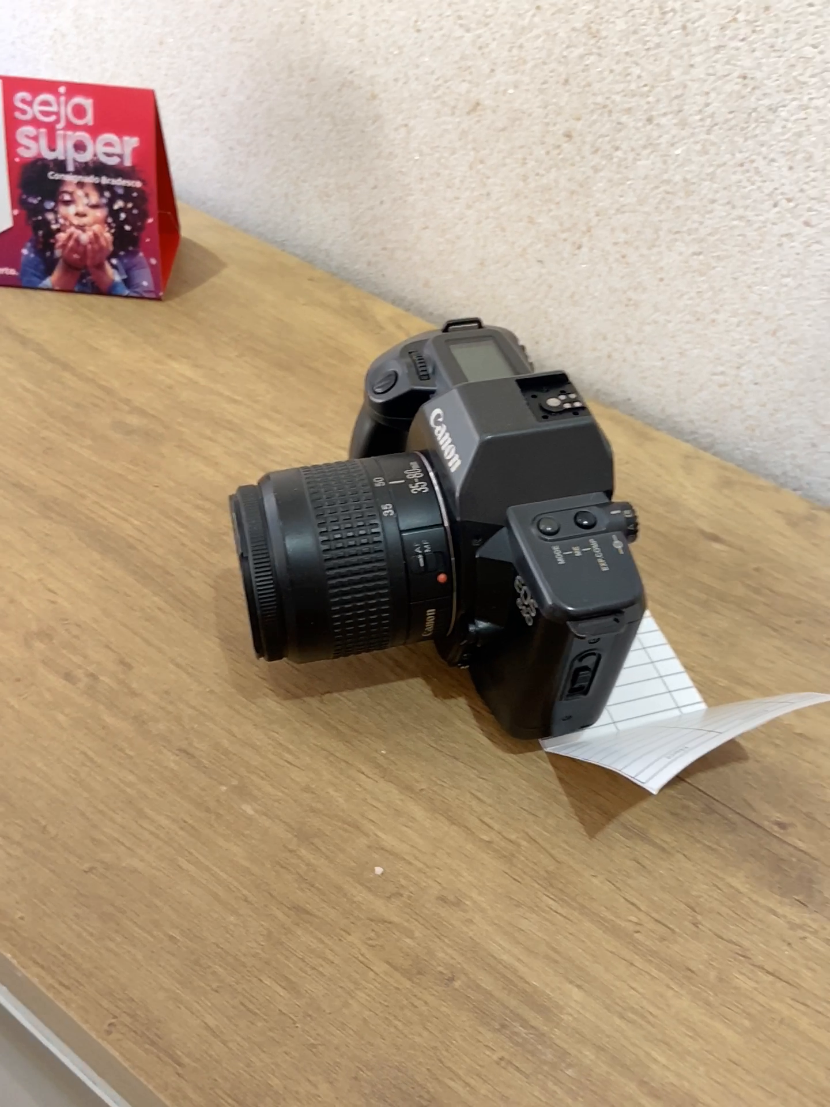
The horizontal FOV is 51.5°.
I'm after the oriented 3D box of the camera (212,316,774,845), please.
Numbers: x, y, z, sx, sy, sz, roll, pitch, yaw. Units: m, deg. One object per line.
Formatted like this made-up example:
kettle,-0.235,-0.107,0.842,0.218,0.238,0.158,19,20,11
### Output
camera,0.012,0.000,0.310,0.140,0.099,0.141,-9,47,-16
